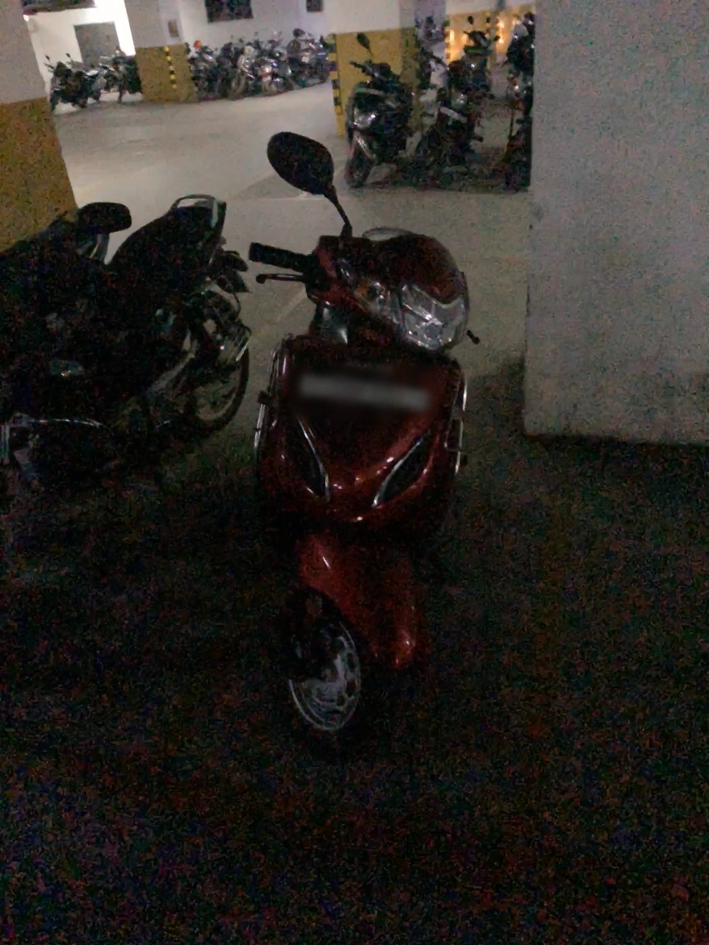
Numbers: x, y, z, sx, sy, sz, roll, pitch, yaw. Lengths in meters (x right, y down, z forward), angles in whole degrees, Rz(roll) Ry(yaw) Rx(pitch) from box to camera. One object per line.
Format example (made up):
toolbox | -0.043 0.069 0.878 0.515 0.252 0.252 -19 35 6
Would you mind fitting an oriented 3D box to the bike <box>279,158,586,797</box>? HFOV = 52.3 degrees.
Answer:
bike | 0.123 -0.099 2.015 0.486 0.909 1.397 -7 40 -2
